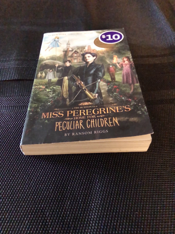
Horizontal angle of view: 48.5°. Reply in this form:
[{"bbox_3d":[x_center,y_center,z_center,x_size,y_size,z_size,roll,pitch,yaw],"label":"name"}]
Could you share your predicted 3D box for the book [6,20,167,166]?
[{"bbox_3d":[-0.003,-0.052,0.281,0.160,0.050,0.231,-2,53,1],"label":"book"}]
